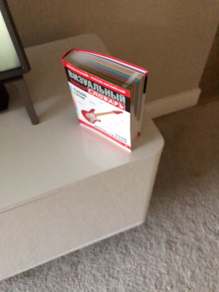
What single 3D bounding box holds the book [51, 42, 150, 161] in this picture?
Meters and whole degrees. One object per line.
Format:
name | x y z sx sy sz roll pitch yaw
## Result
book | -0.014 -0.076 0.462 0.150 0.179 0.060 27 59 20
